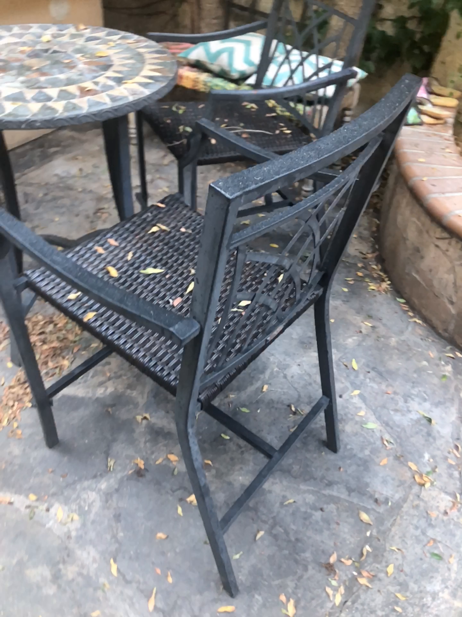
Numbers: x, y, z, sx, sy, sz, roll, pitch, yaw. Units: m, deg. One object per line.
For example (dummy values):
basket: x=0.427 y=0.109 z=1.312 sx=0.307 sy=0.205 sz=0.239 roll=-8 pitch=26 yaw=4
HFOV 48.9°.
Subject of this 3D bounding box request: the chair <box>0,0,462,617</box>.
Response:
chair: x=-0.053 y=-0.030 z=1.060 sx=0.691 sy=0.912 sz=0.685 roll=30 pitch=49 yaw=26
